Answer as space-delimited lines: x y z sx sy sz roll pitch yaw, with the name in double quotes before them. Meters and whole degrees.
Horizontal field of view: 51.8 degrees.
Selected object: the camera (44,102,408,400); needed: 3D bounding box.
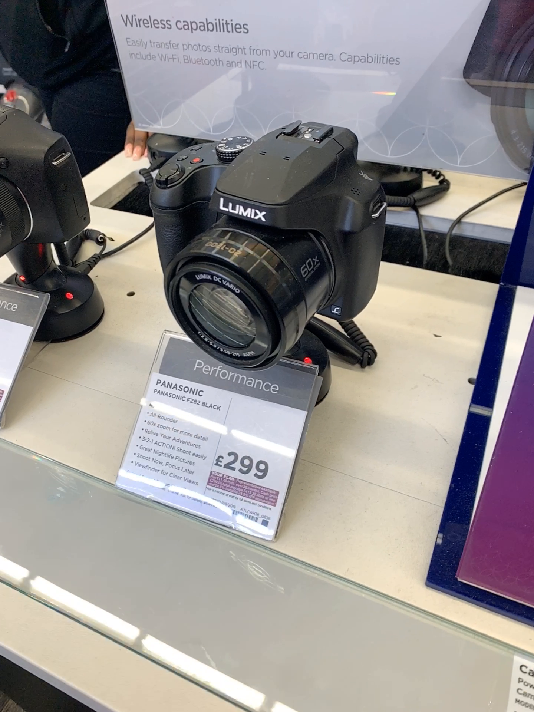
"camera" -0.013 -0.065 0.289 0.130 0.079 0.121 18 47 23
